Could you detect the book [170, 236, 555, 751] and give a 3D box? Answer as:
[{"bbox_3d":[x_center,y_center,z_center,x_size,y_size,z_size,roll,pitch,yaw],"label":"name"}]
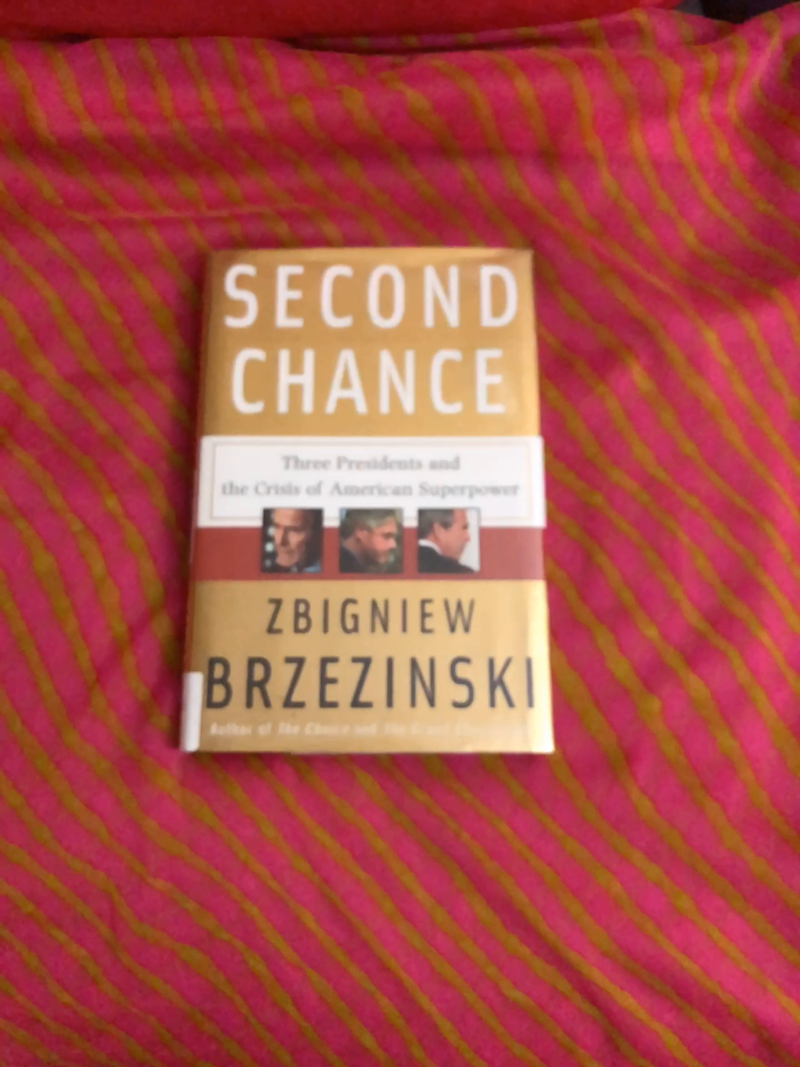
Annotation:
[{"bbox_3d":[-0.013,-0.016,0.362,0.140,0.037,0.200,-1,78,5],"label":"book"}]
